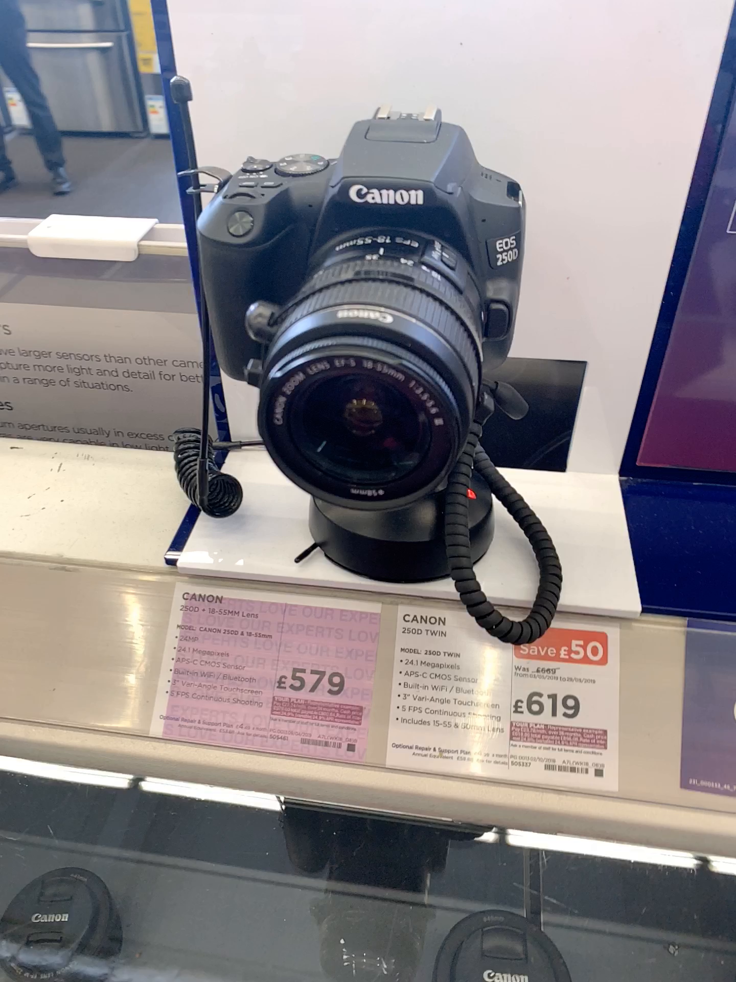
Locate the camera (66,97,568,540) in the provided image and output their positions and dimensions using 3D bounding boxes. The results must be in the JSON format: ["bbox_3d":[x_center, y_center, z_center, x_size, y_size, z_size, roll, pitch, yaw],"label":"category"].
[{"bbox_3d":[-0.006,-0.069,0.261,0.120,0.089,0.141,4,40,5],"label":"camera"}]
